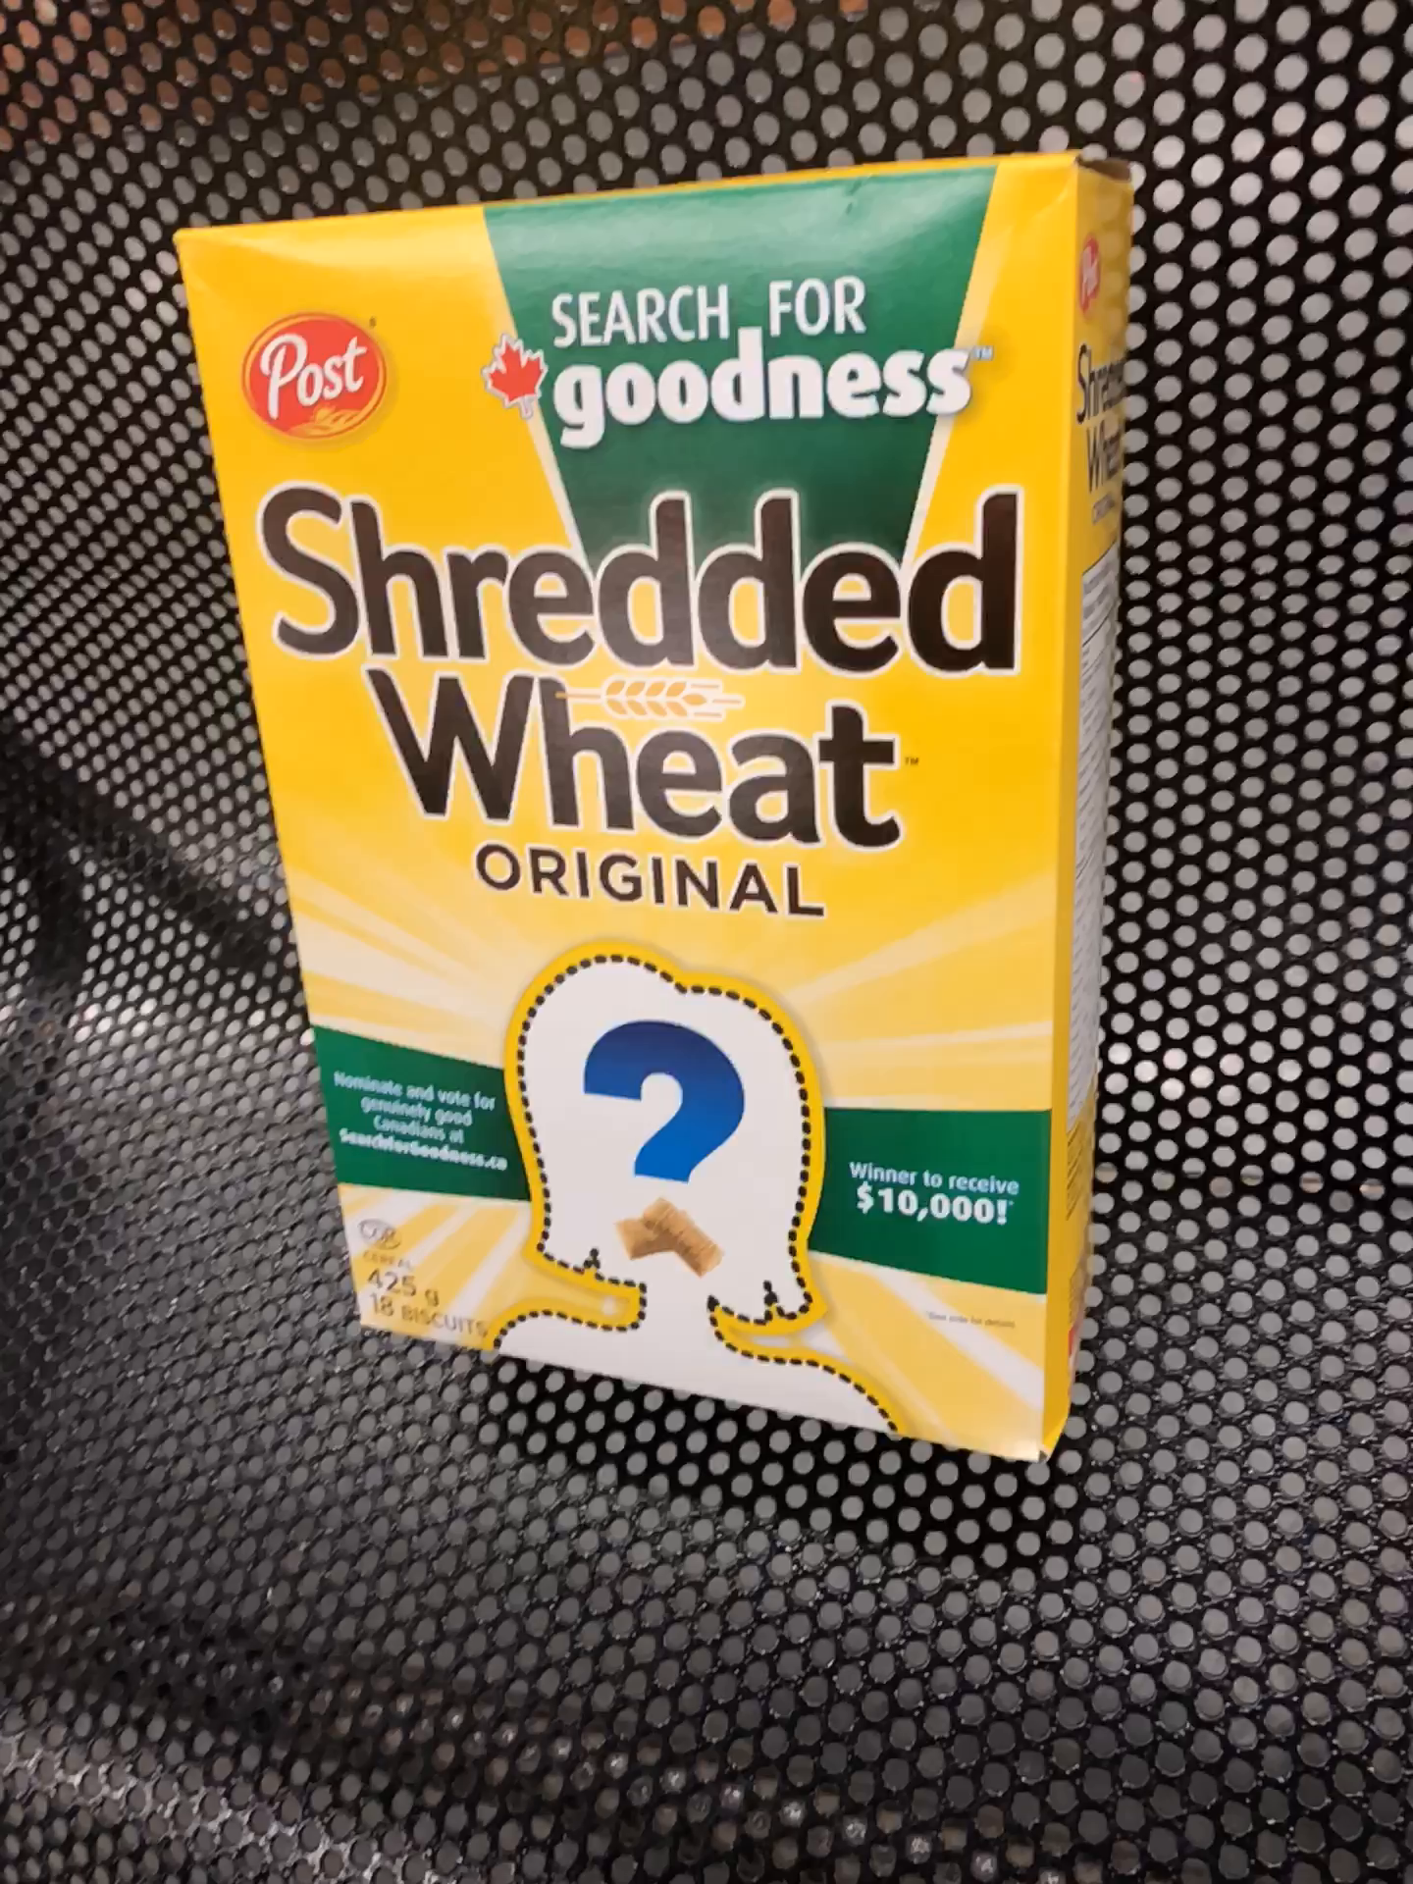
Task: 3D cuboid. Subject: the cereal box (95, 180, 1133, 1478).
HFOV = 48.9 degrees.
[{"bbox_3d":[-0.010,-0.026,0.393,0.210,0.279,0.090,4,24,20],"label":"cereal box"}]
